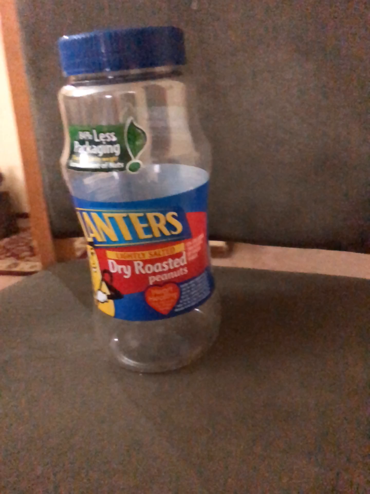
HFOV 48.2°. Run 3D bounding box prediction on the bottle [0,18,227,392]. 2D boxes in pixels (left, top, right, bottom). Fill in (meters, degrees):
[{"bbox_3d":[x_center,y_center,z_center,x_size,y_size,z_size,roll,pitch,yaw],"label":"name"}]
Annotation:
[{"bbox_3d":[-0.037,-0.023,0.229,0.090,0.170,0.080,6,26,24],"label":"bottle"}]
